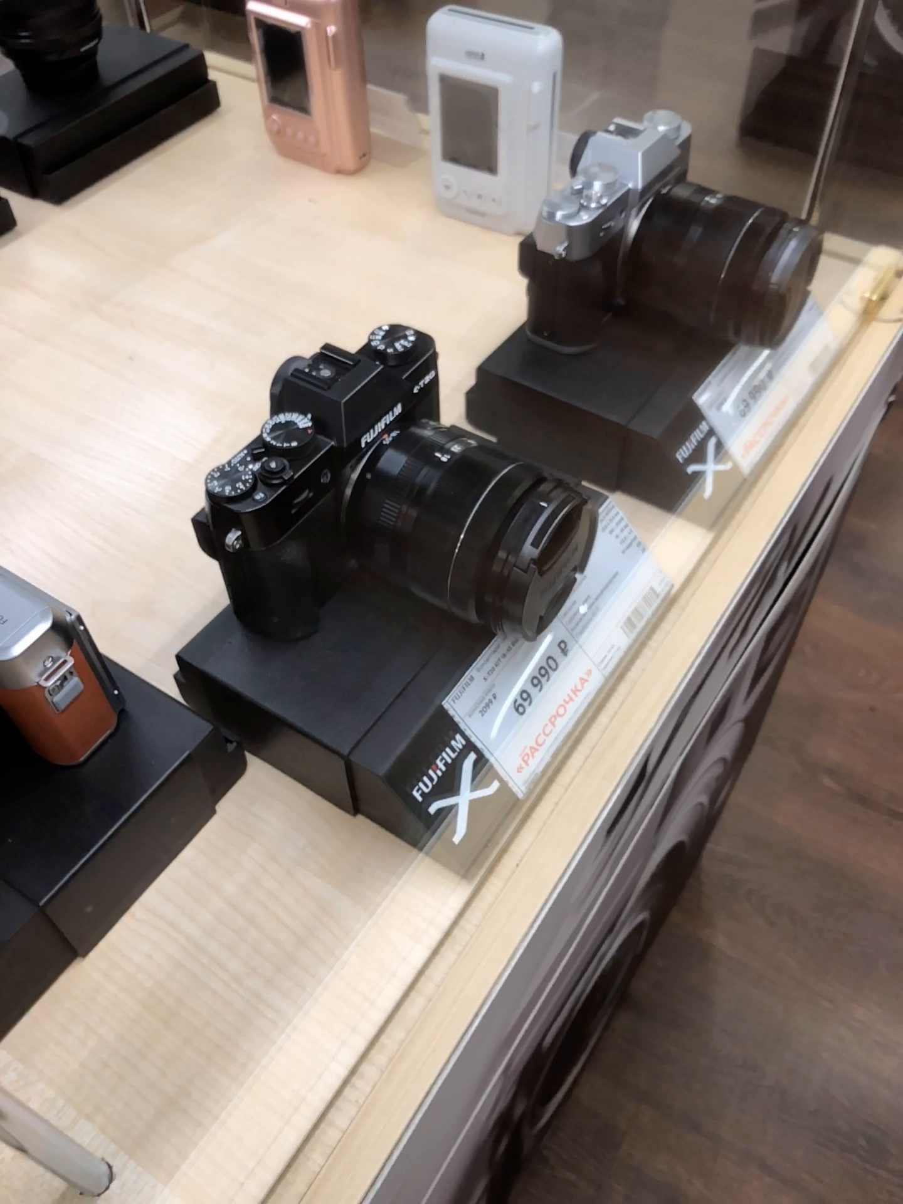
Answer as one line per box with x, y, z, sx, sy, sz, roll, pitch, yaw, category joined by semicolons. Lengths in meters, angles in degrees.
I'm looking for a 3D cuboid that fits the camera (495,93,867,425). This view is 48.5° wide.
0.108;-0.170;0.484;0.124;0.072;0.130;26;55;21;camera

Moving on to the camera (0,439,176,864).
-0.169;0.013;0.332;0.122;0.063;0.075;26;55;21;camera

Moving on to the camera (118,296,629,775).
-0.025;-0.031;0.379;0.130;0.080;0.122;28;56;23;camera
